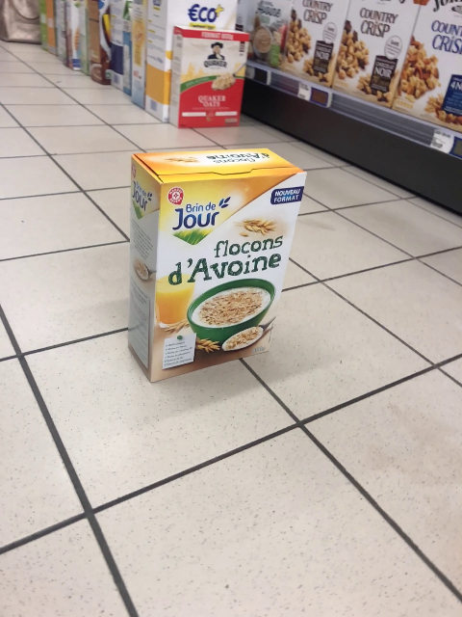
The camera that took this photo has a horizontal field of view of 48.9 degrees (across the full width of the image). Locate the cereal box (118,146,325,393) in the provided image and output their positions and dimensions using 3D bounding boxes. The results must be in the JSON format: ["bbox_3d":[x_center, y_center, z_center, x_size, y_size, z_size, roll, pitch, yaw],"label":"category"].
[{"bbox_3d":[-0.017,-0.040,0.487,0.161,0.209,0.070,-10,35,-29],"label":"cereal box"}]
